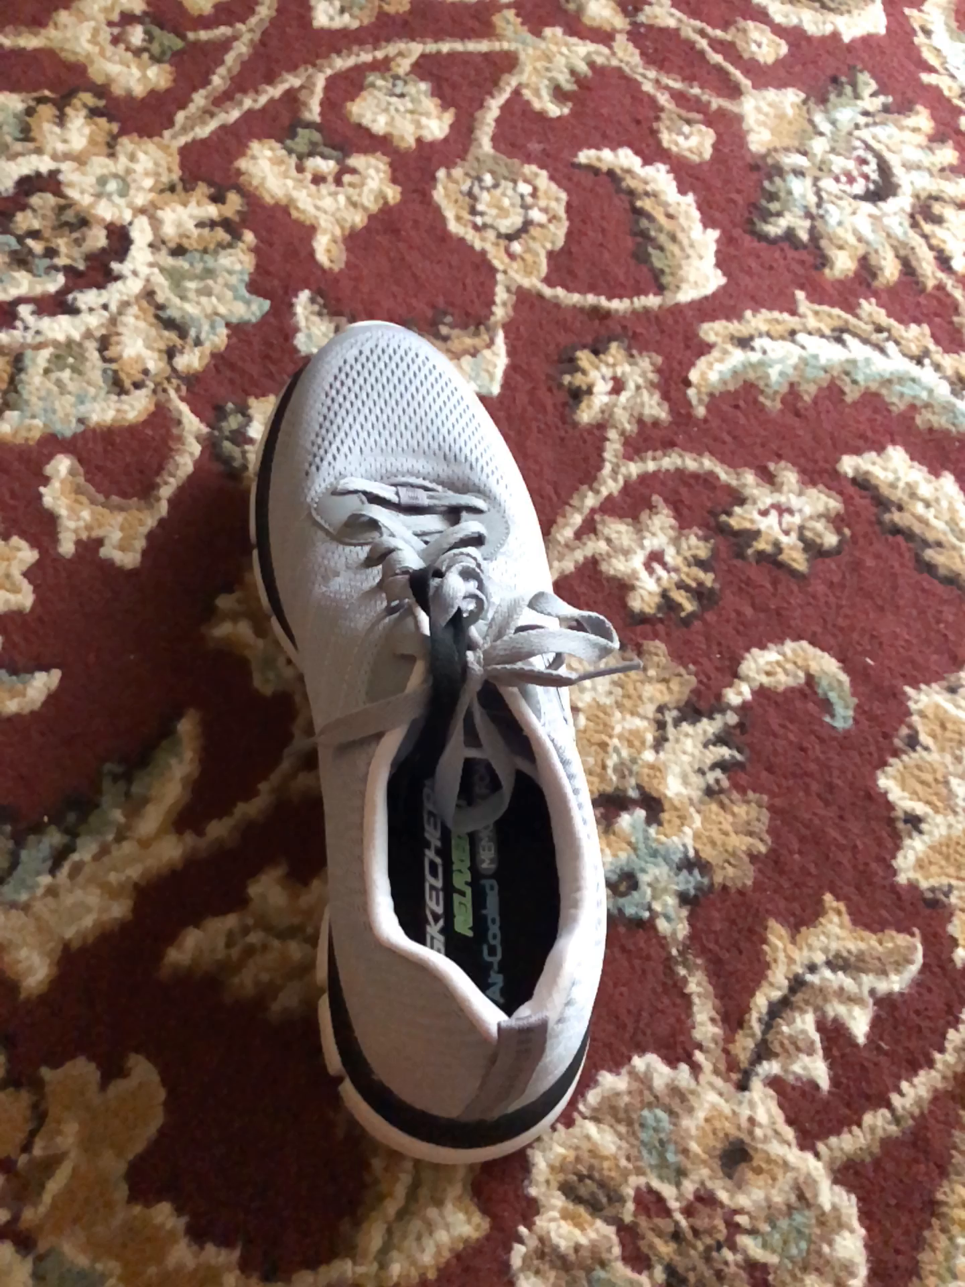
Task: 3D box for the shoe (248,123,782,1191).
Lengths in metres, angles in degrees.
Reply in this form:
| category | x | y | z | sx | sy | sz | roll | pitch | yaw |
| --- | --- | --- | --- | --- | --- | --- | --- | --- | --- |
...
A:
| category | x | y | z | sx | sy | sz | roll | pitch | yaw |
| --- | --- | --- | --- | --- | --- | --- | --- | --- | --- |
| shoe | -0.016 | -0.002 | 0.338 | 0.100 | 0.130 | 0.300 | -2 | 63 | -12 |
